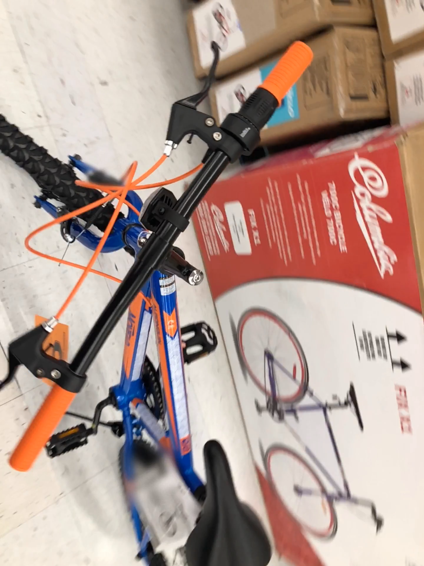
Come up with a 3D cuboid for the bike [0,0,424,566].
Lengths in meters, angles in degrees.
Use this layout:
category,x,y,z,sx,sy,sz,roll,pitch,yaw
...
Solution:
category,x,y,z,sx,sy,sz,roll,pitch,yaw
bike,-0.247,0.256,0.926,0.585,0.871,1.314,-27,102,-32
